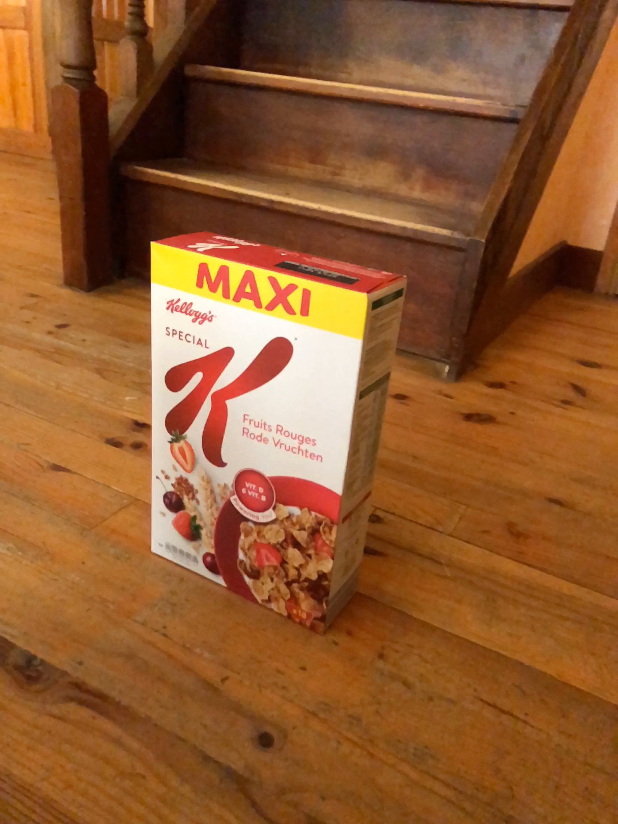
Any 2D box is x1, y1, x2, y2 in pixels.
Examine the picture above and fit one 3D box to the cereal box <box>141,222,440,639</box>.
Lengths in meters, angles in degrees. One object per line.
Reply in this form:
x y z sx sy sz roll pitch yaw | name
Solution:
-0.030 0.010 0.571 0.210 0.288 0.091 18 28 24 | cereal box
